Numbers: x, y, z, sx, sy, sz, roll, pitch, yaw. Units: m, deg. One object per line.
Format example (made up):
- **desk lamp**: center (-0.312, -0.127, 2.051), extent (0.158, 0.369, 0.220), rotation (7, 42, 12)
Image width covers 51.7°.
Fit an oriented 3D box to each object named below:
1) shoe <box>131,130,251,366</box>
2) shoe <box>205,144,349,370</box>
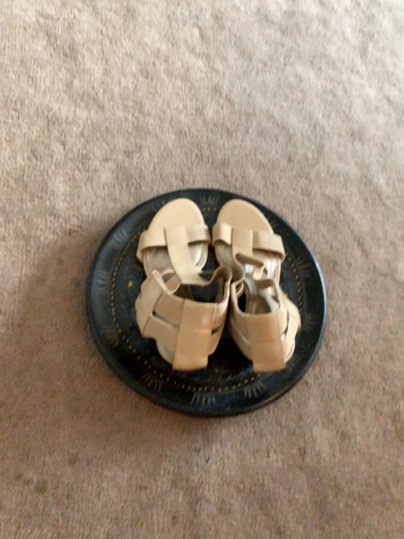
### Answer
- **shoe**: center (-0.021, -0.022, 0.435), extent (0.100, 0.099, 0.221), rotation (-1, 68, -8)
- **shoe**: center (0.068, -0.014, 0.458), extent (0.090, 0.099, 0.221), rotation (-5, 69, -9)
